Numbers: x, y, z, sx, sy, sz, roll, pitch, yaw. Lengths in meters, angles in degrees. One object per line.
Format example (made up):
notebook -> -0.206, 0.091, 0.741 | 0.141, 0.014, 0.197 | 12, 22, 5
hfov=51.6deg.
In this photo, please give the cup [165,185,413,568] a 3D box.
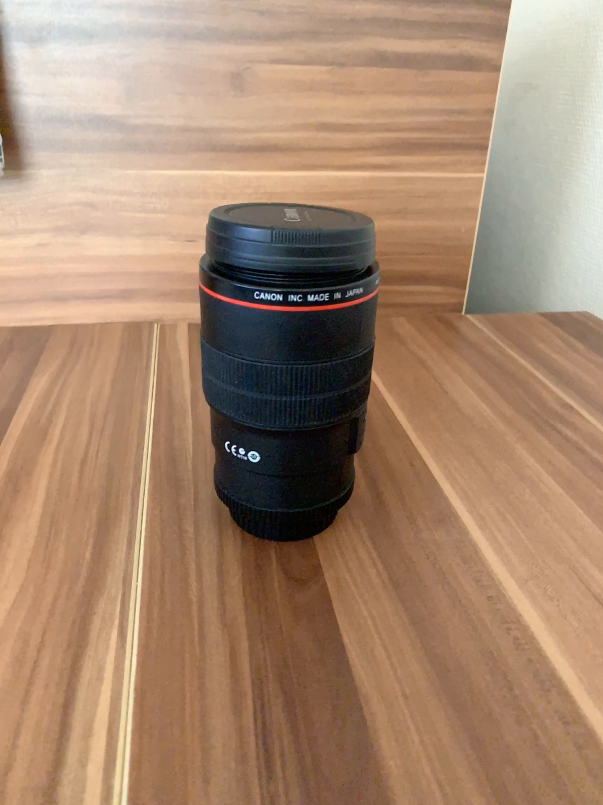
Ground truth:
cup -> -0.011, -0.016, 0.276 | 0.070, 0.139, 0.080 | -11, 30, -24
